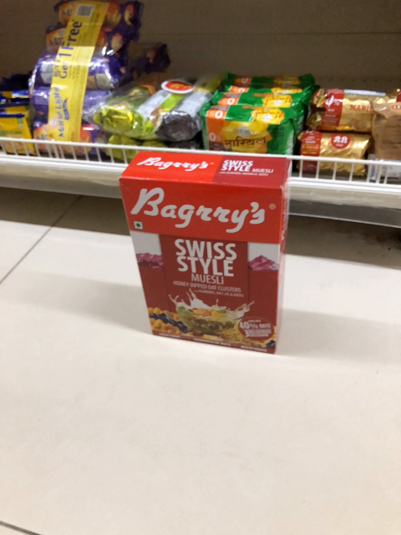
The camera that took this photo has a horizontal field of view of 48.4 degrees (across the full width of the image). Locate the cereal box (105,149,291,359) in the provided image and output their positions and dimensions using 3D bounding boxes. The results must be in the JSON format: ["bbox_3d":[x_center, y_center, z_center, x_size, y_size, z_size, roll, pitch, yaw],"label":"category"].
[{"bbox_3d":[0.007,-0.008,0.557,0.190,0.258,0.060,7,40,15],"label":"cereal box"}]
